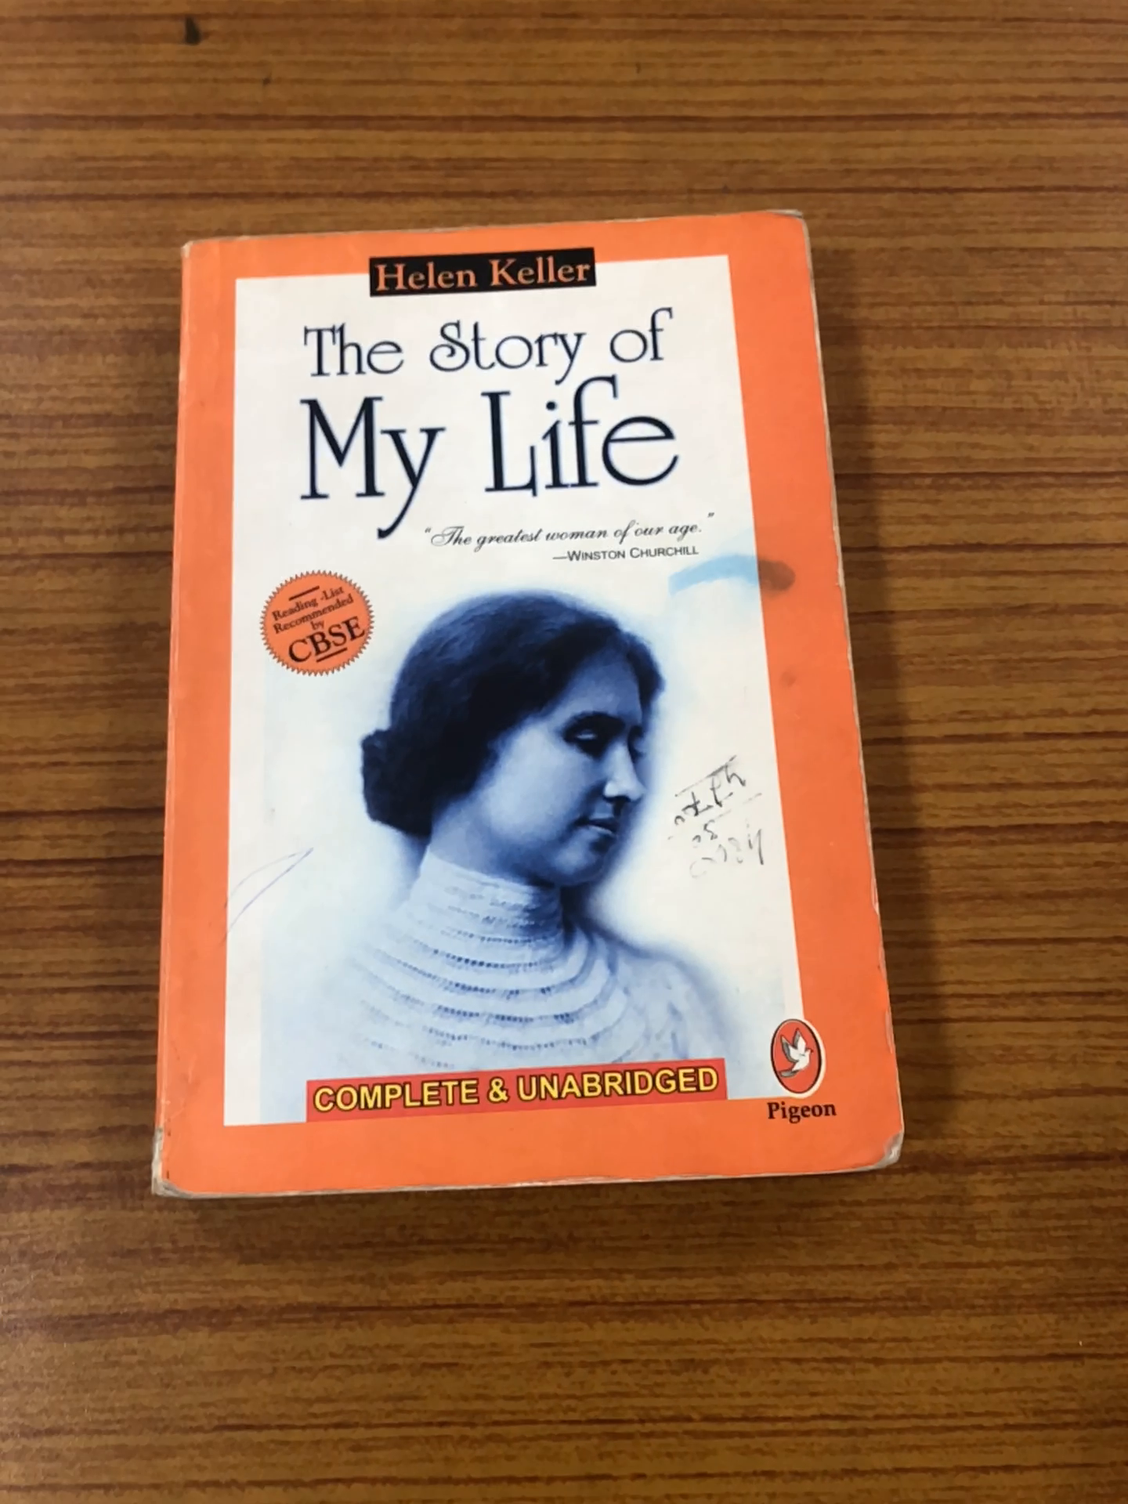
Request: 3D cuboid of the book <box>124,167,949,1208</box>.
[{"bbox_3d":[-0.008,-0.016,0.220,0.120,0.030,0.170,-3,76,-1],"label":"book"}]
